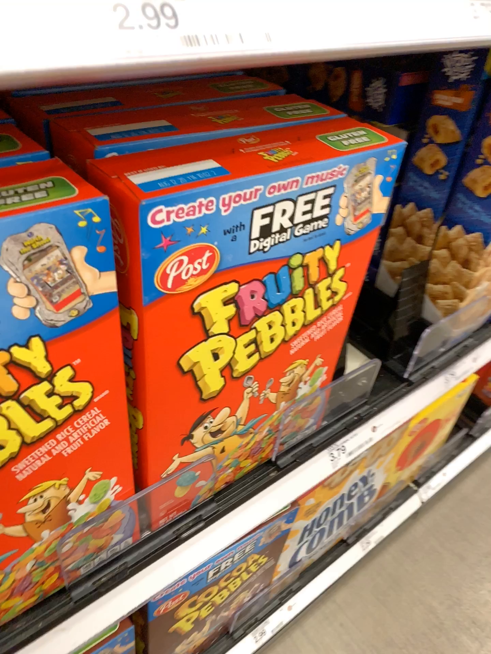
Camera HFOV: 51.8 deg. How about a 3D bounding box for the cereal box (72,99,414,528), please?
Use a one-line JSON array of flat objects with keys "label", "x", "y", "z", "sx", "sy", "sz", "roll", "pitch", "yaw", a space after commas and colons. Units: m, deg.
[{"label": "cereal box", "x": -0.004, "y": -0.001, "z": 0.379, "sx": 0.201, "sy": 0.288, "sz": 0.060, "roll": -23, "pitch": 48, "yaw": -31}]
